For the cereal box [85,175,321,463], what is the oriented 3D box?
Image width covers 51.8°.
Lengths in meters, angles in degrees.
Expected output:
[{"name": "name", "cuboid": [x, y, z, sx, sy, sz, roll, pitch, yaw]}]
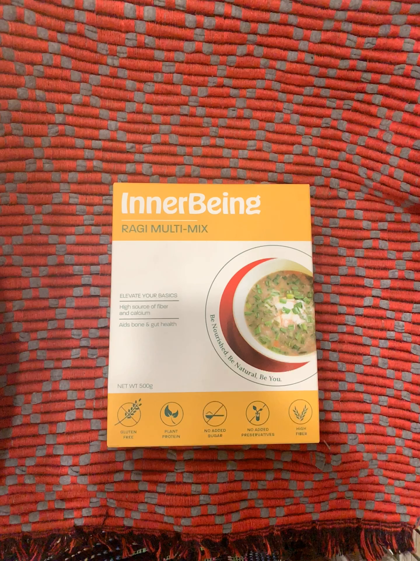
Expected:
[{"name": "cereal box", "cuboid": [-0.006, 0.026, 0.323, 0.150, 0.070, 0.190, 0, 81, -2]}]
